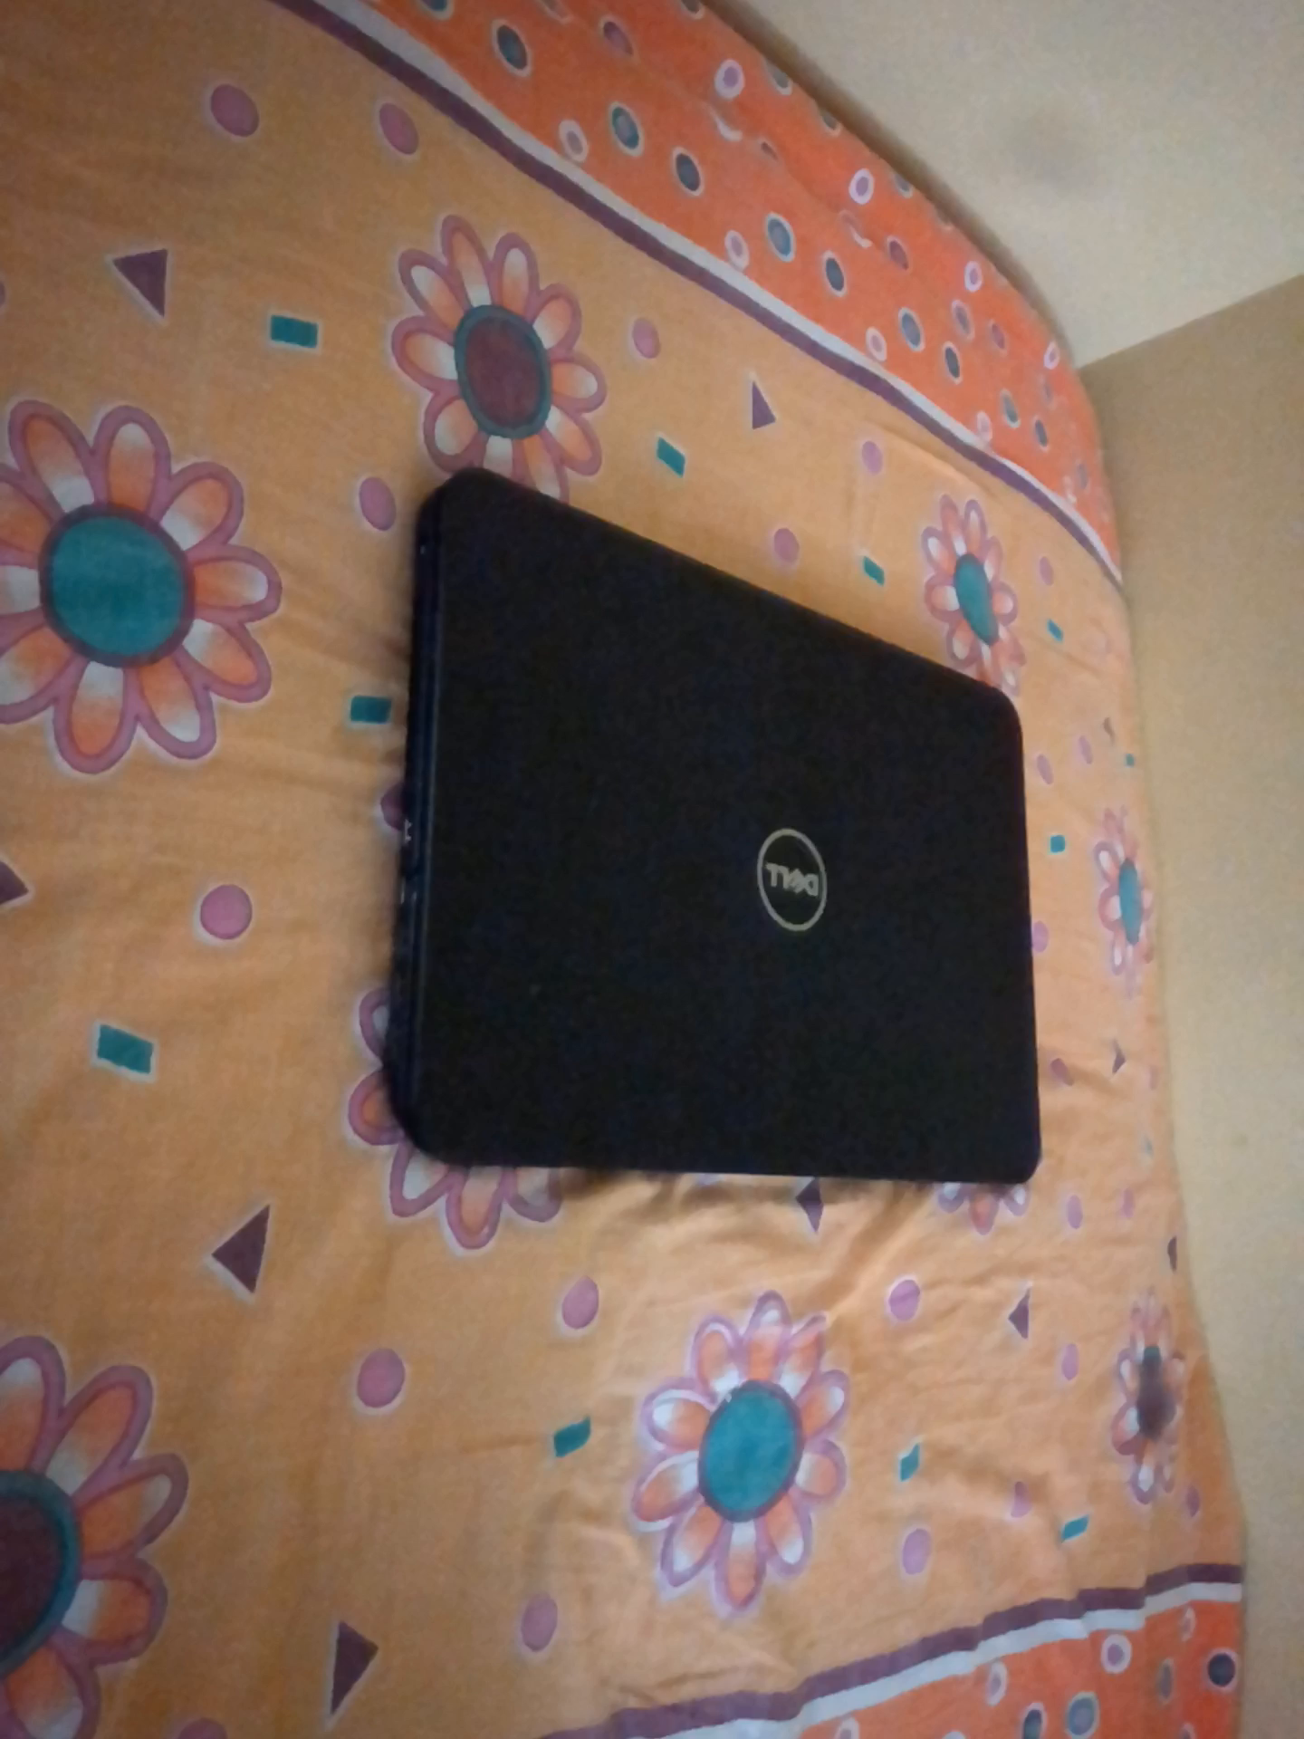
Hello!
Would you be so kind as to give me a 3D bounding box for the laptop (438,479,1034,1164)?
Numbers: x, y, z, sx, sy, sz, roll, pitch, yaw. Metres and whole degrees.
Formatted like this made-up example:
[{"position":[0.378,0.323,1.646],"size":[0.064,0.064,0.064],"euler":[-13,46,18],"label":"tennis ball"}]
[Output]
[{"position":[0.063,0.002,0.627],"size":[0.360,0.001,0.236],"euler":[12,75,-41],"label":"laptop"}]
